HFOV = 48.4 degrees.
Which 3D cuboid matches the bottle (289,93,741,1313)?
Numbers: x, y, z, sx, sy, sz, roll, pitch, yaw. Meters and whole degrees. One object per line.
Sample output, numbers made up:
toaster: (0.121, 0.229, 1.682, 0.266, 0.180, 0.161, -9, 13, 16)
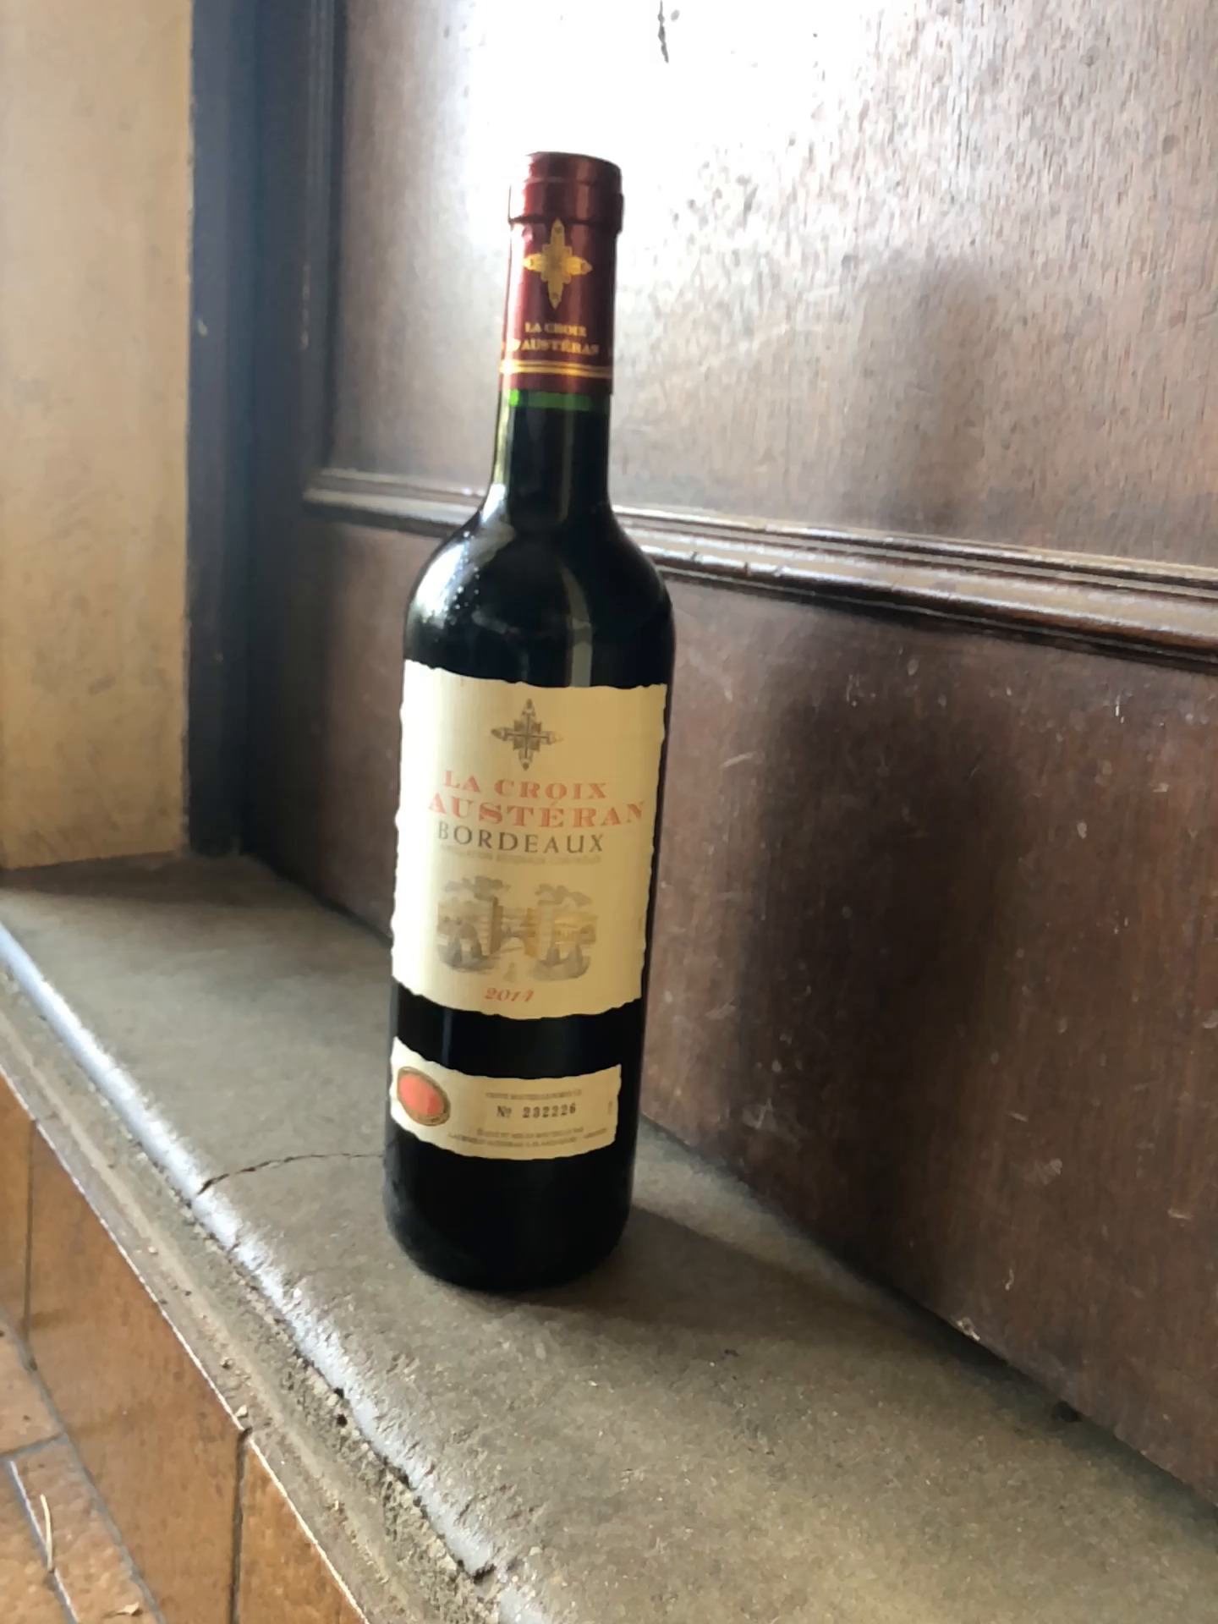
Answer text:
bottle: (-0.025, -0.024, 0.355, 0.080, 0.279, 0.080, 4, 13, -1)
